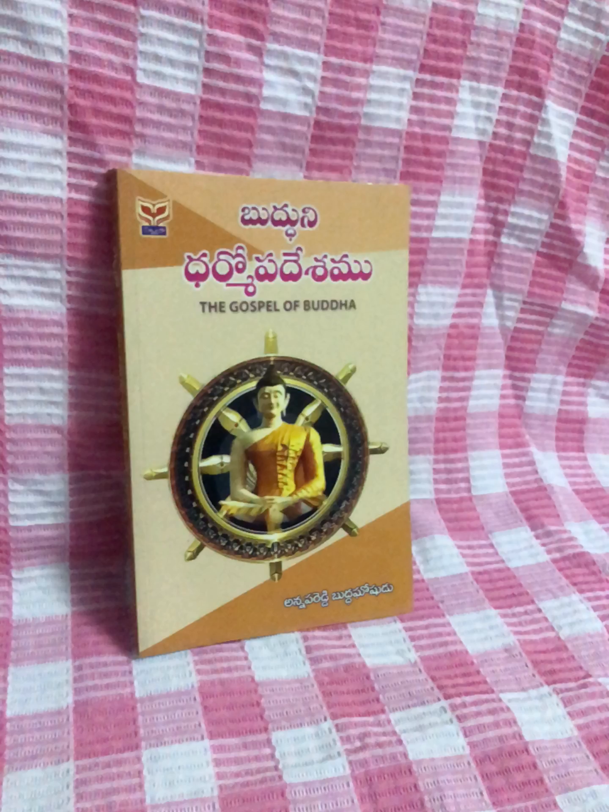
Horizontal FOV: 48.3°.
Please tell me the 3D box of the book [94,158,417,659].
[{"bbox_3d":[-0.017,0.001,0.311,0.140,0.210,0.020,-3,8,-17],"label":"book"}]
